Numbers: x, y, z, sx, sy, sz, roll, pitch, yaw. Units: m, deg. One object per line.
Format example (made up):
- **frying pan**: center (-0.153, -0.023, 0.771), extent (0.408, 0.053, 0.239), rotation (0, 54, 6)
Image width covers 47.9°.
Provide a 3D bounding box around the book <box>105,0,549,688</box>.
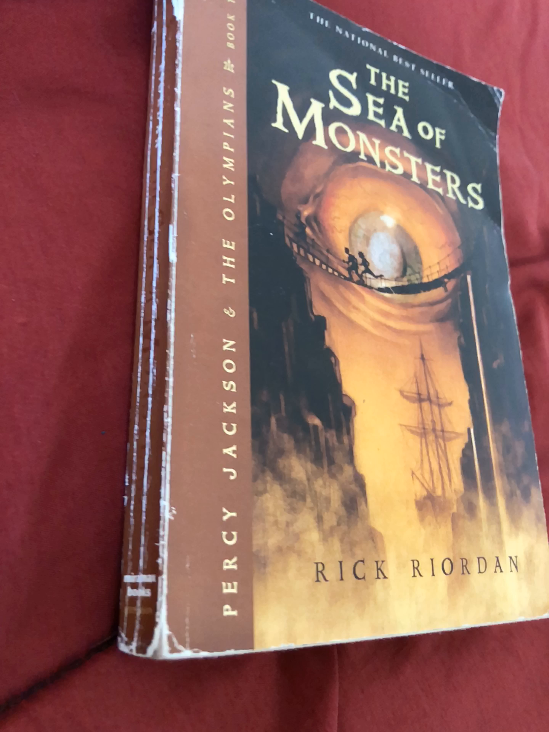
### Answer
- **book**: center (0.032, -0.020, 0.191), extent (0.145, 0.030, 0.197), rotation (10, 71, -30)
